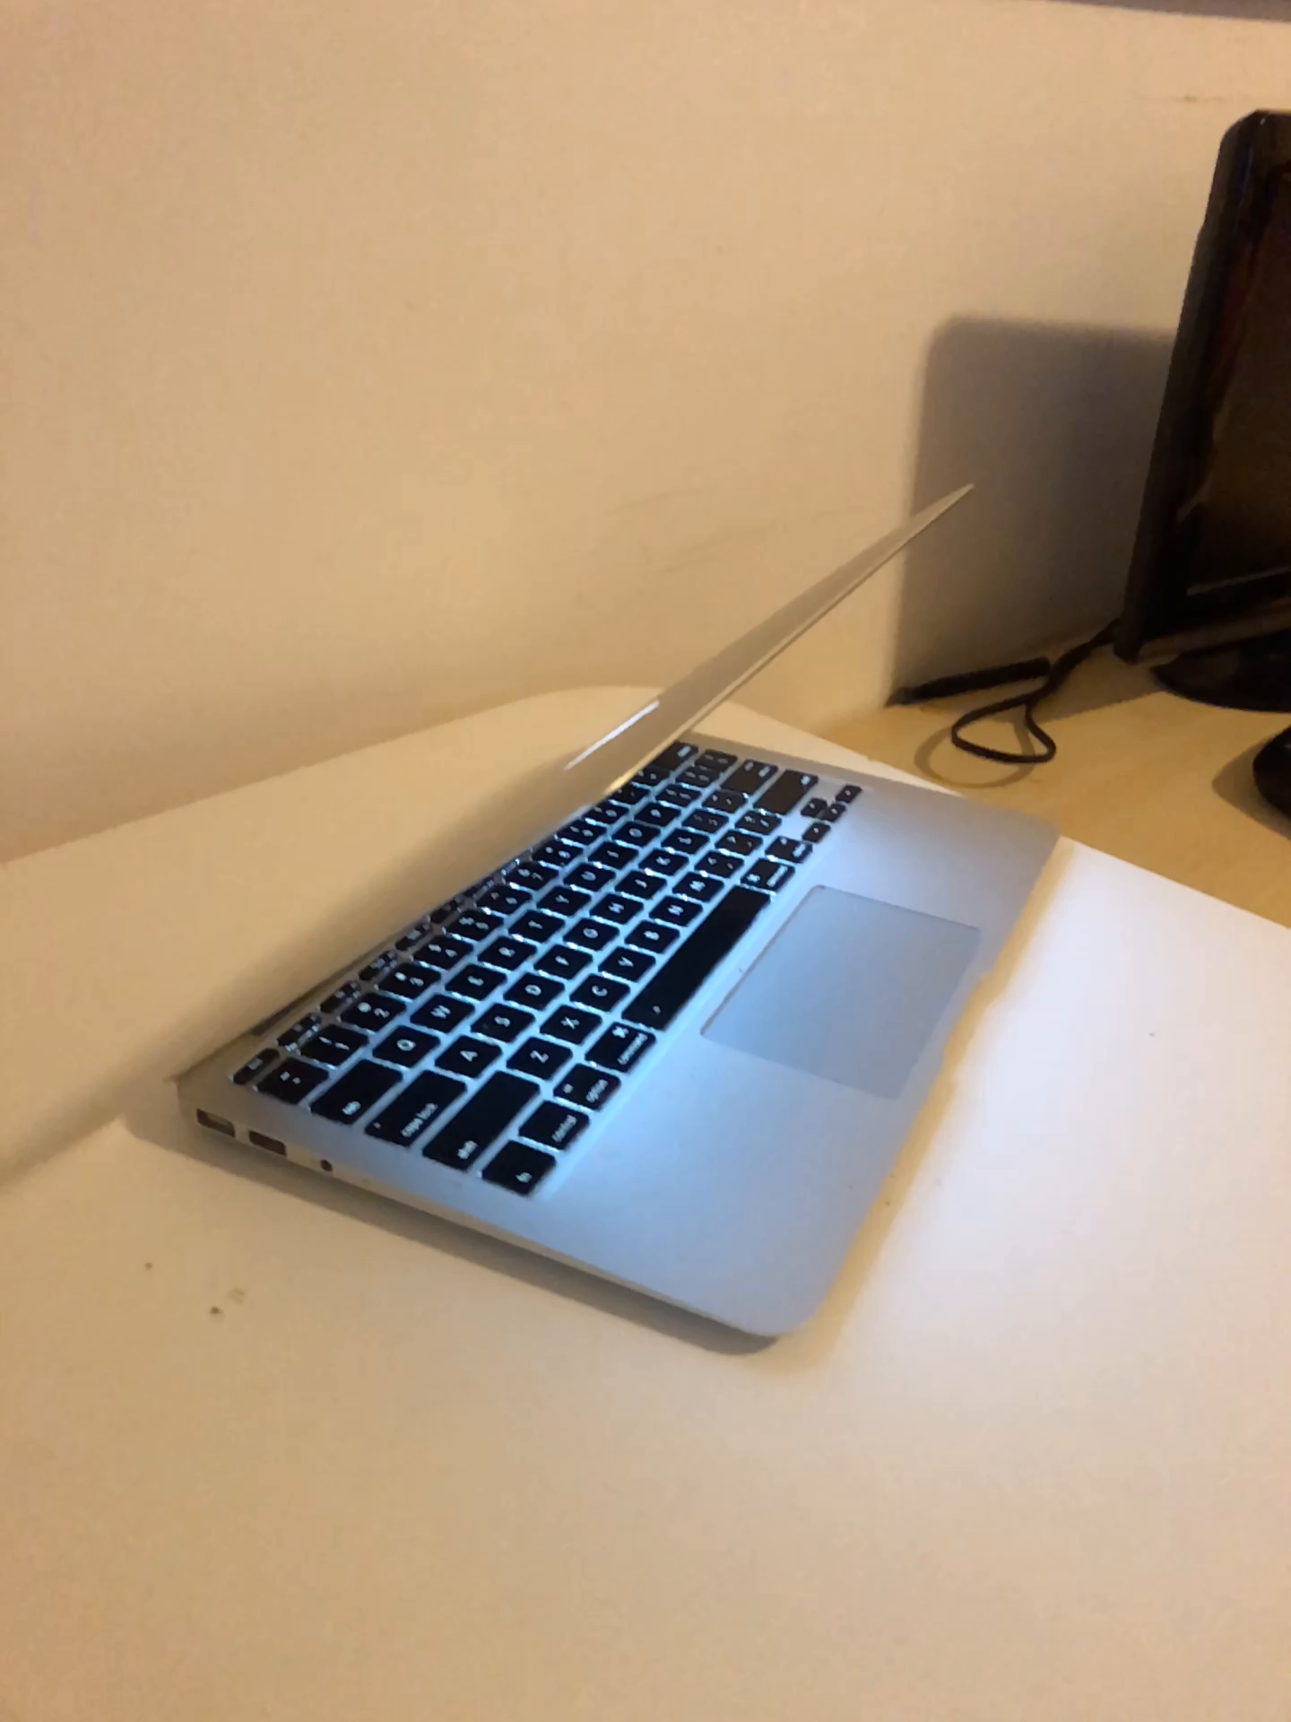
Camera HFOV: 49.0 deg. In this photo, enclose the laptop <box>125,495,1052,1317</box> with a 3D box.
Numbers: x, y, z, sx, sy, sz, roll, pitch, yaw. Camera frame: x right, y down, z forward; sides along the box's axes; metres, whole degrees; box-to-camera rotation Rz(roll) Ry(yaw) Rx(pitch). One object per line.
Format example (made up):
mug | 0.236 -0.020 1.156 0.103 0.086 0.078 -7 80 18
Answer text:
laptop | 0.010 -0.023 0.450 0.181 0.108 0.286 14 28 19
